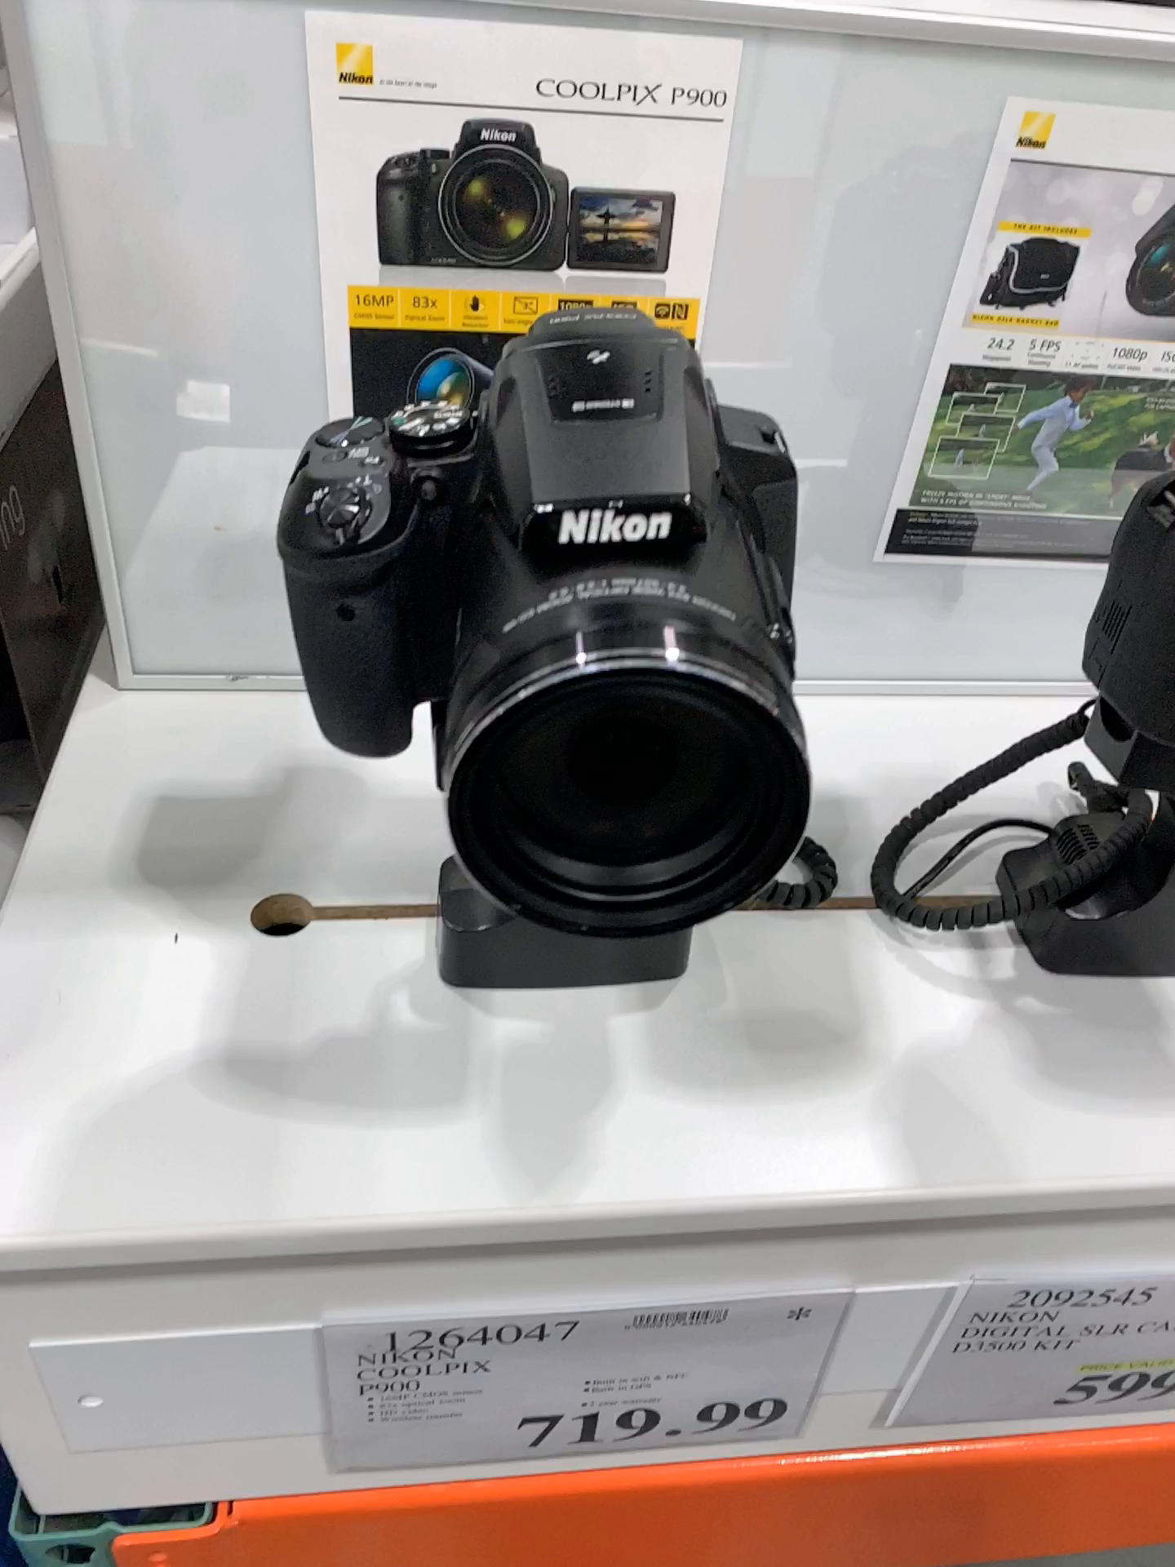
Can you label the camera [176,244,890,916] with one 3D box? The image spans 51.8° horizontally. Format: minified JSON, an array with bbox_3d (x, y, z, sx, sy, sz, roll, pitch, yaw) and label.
[{"bbox_3d":[-0.013,-0.061,0.313,0.130,0.109,0.151,-2,39,-3],"label":"camera"}]
